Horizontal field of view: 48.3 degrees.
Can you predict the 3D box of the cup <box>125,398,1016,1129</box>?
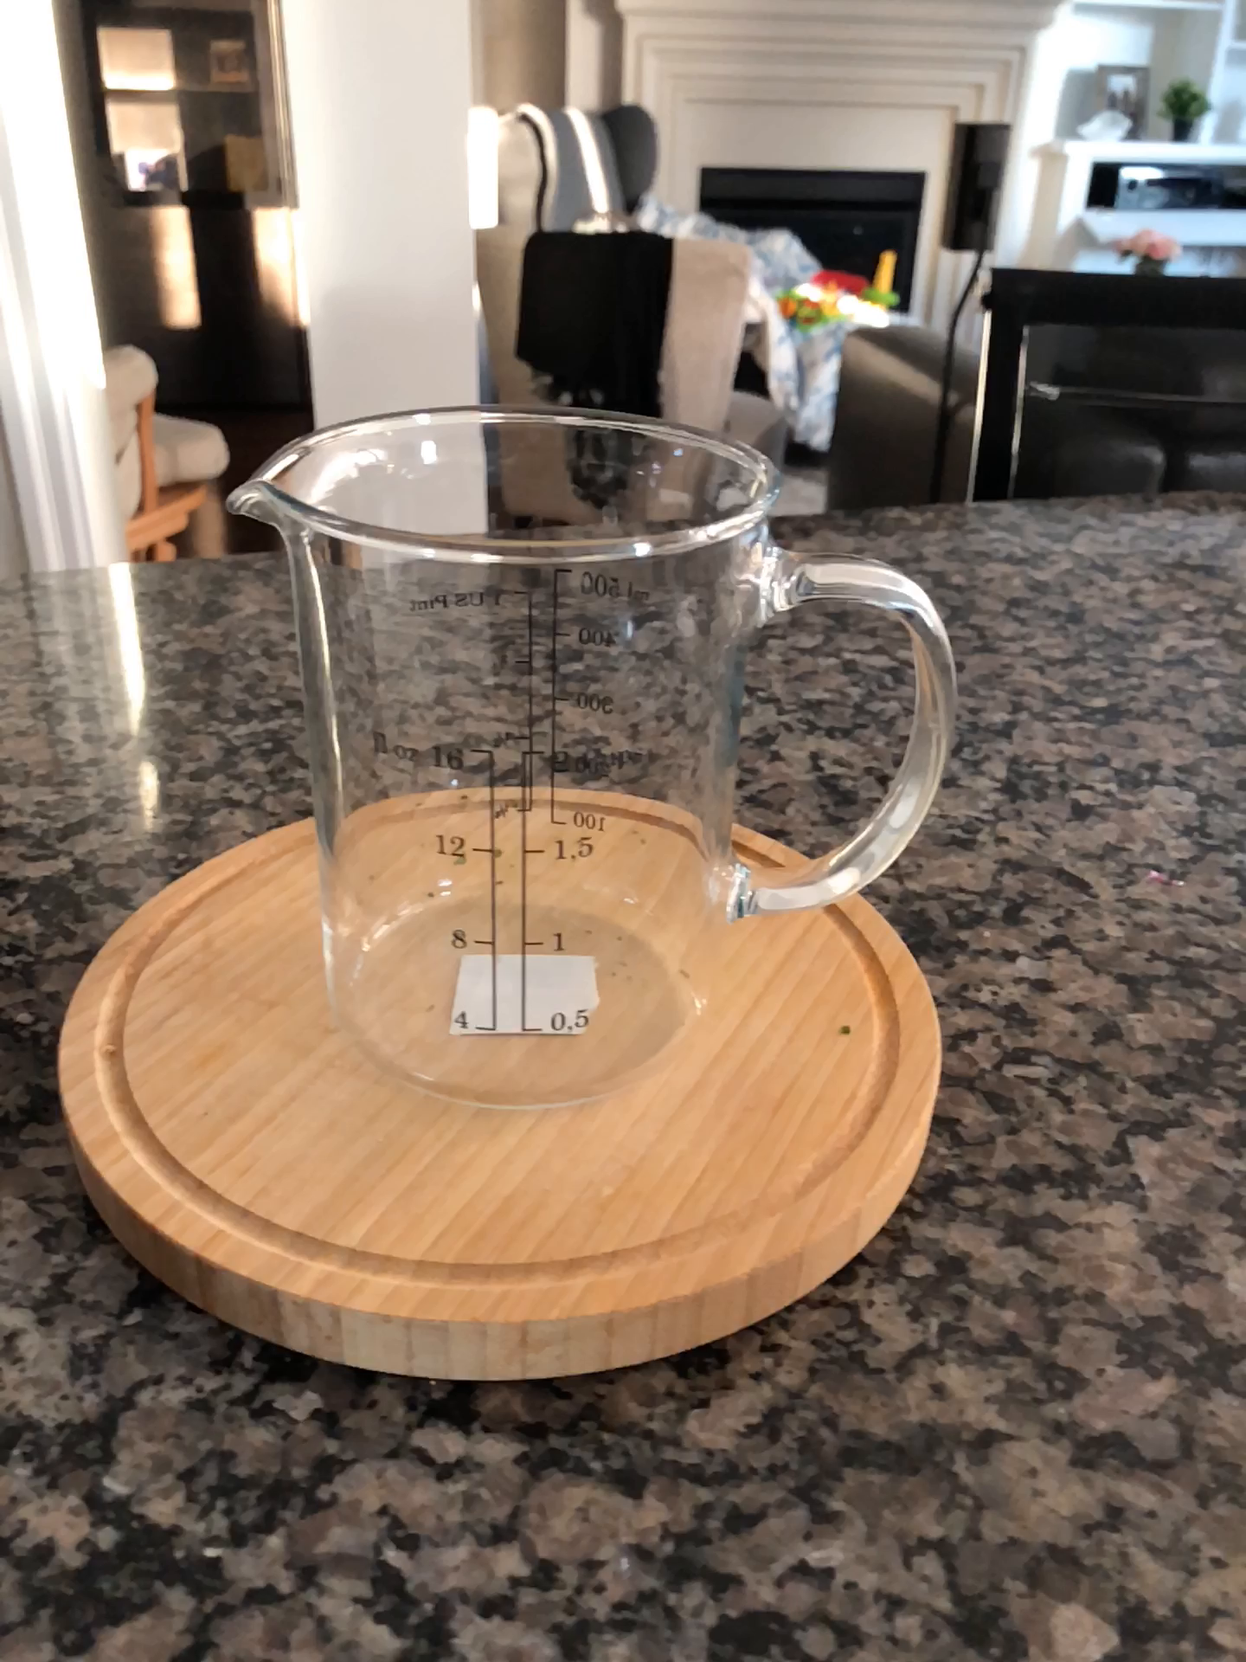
[{"bbox_3d":[-0.012,-0.019,0.311,0.150,0.128,0.106,0,28,-3],"label":"cup"}]
